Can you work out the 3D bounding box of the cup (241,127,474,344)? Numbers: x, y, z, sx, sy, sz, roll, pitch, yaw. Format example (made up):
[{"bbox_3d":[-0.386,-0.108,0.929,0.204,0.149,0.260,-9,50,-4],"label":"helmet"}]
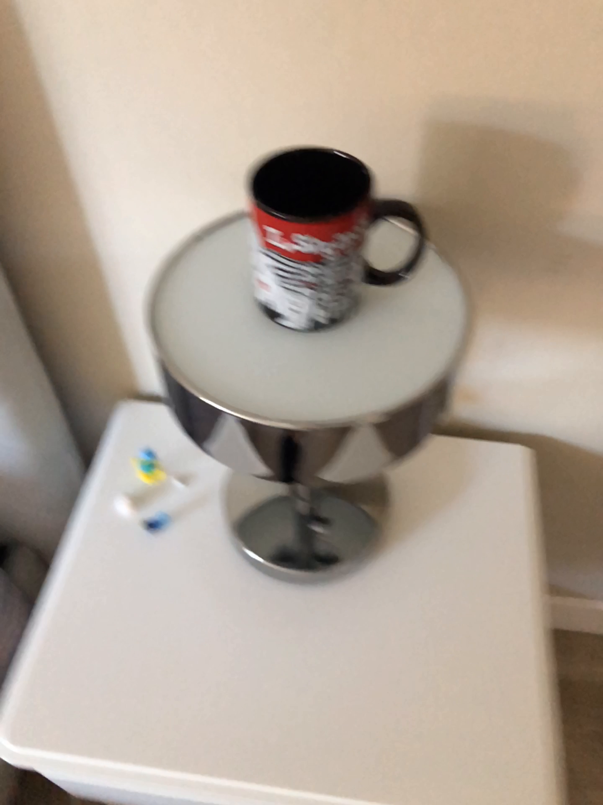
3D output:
[{"bbox_3d":[0.029,-0.108,0.442,0.130,0.100,0.090,-3,51,-3],"label":"cup"}]
